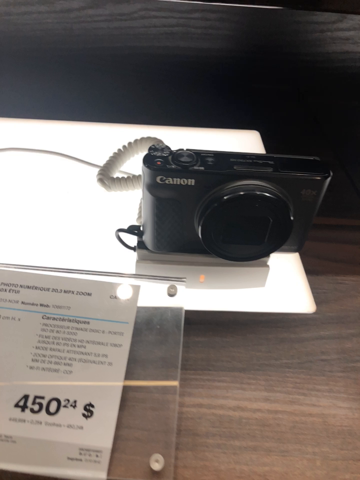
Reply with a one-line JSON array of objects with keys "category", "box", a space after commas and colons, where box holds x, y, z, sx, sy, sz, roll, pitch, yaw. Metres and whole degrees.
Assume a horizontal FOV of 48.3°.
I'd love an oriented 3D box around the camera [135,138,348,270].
[{"category": "camera", "box": [0.031, -0.020, 0.250, 0.114, 0.069, 0.035, 2, 42, -3]}]
